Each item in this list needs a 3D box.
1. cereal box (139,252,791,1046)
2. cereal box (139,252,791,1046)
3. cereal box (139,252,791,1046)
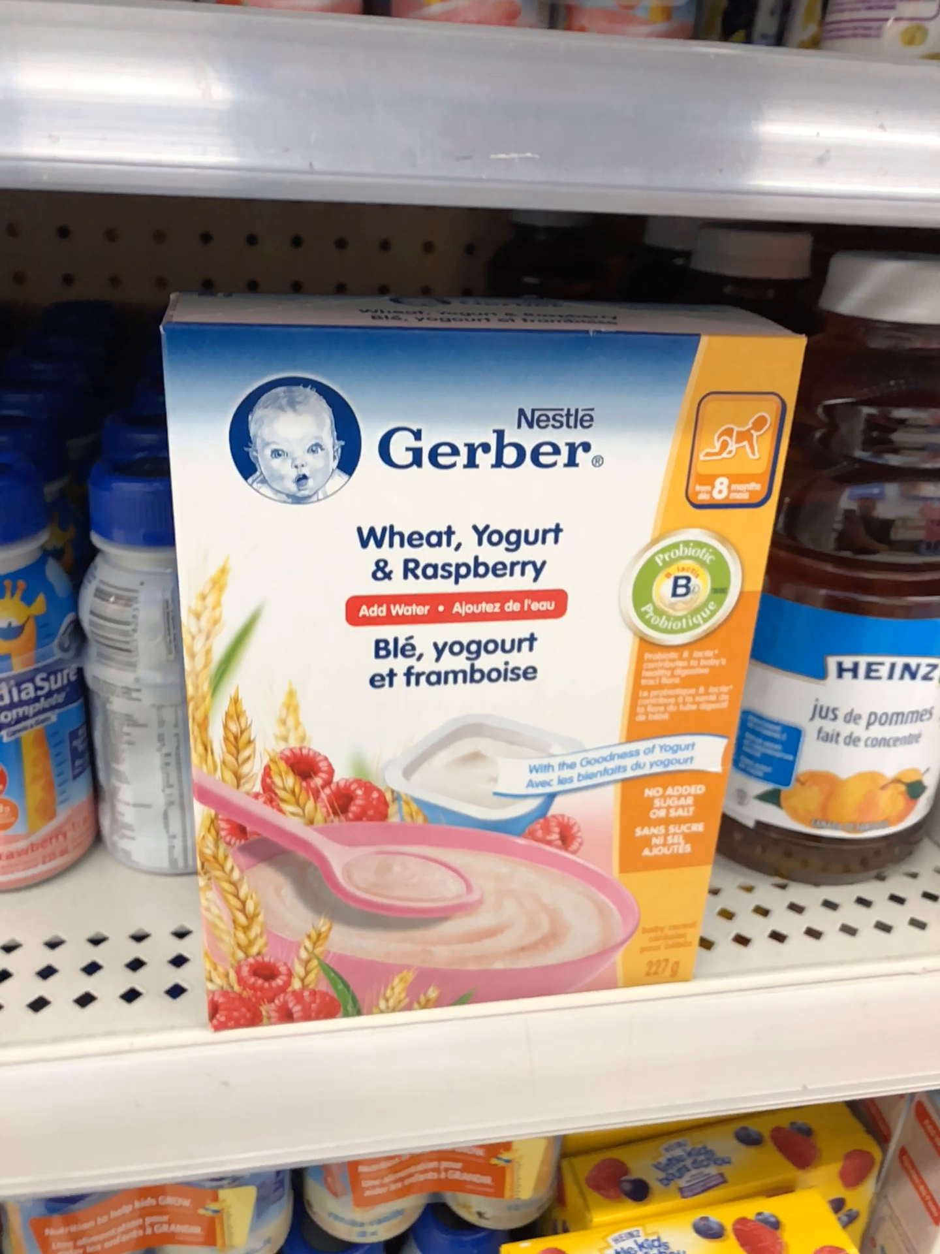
[{"bbox_3d":[-0.008,0.010,0.281,0.140,0.199,0.050,-1,23,-12],"label":"cereal box"},{"bbox_3d":[-0.008,0.010,0.281,0.140,0.199,0.050,-1,23,-12],"label":"cereal box"},{"bbox_3d":[-0.008,0.010,0.281,0.140,0.199,0.050,-1,23,-12],"label":"cereal box"}]
